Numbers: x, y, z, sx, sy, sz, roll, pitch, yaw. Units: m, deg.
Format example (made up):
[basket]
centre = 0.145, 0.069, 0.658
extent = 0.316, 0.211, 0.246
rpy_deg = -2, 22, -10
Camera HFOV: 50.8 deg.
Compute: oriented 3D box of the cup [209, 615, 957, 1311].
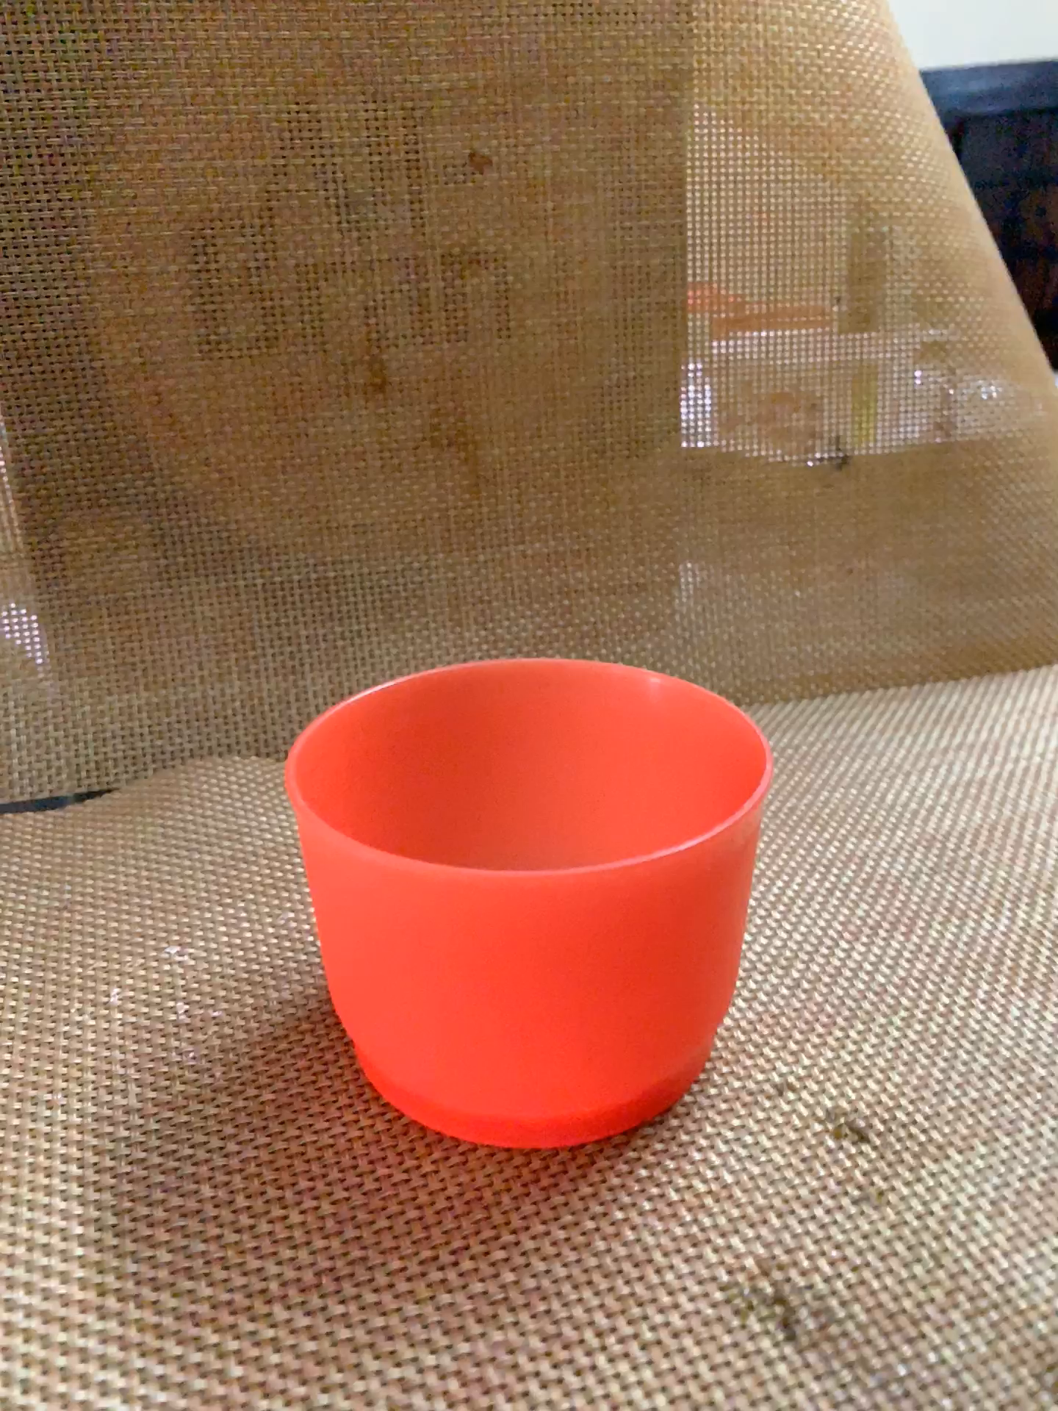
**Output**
[cup]
centre = 0.003, 0.028, 0.173
extent = 0.081, 0.050, 0.079
rpy_deg = -1, 23, 0
